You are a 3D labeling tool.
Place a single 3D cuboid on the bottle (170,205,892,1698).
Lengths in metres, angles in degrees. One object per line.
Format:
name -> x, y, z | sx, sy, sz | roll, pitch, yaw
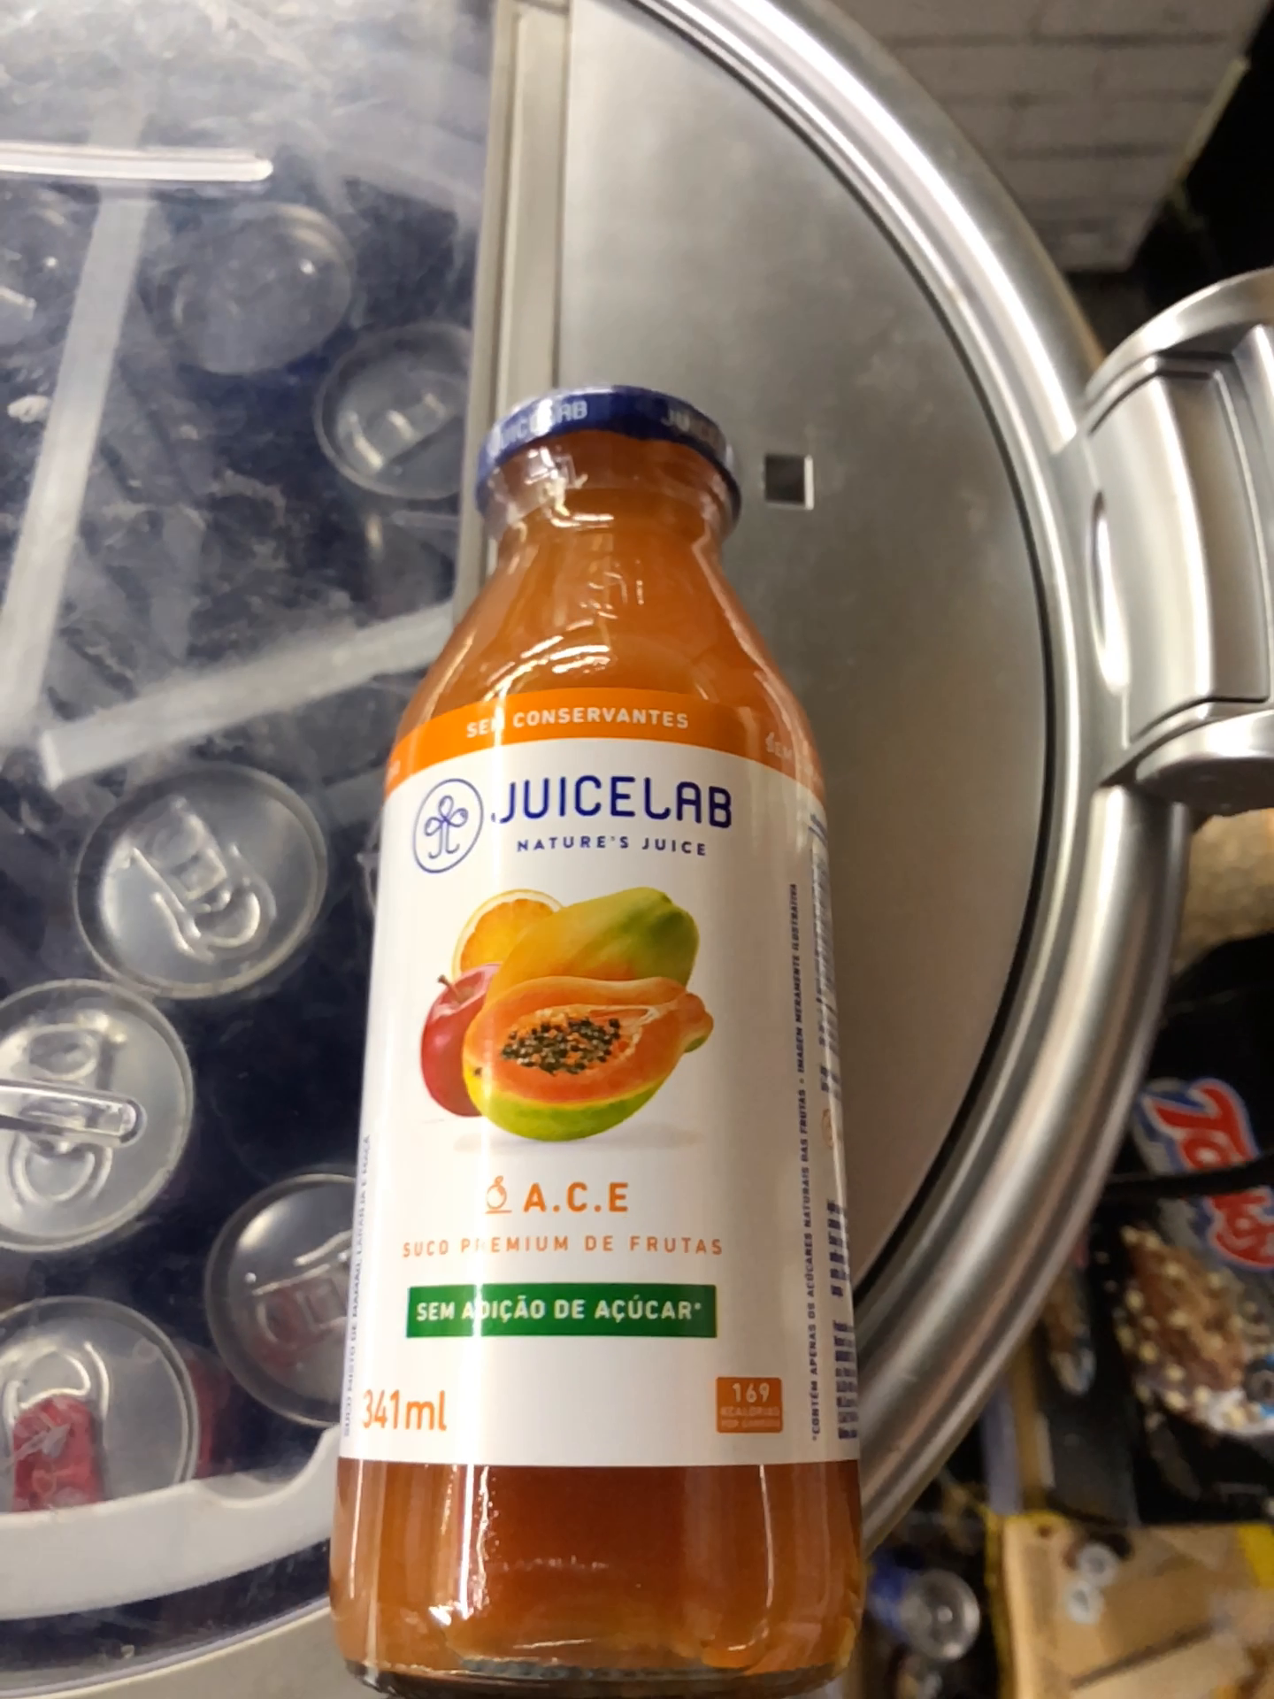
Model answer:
bottle -> -0.007, 0.008, 0.194 | 0.070, 0.050, 0.190 | 1, 70, 3
